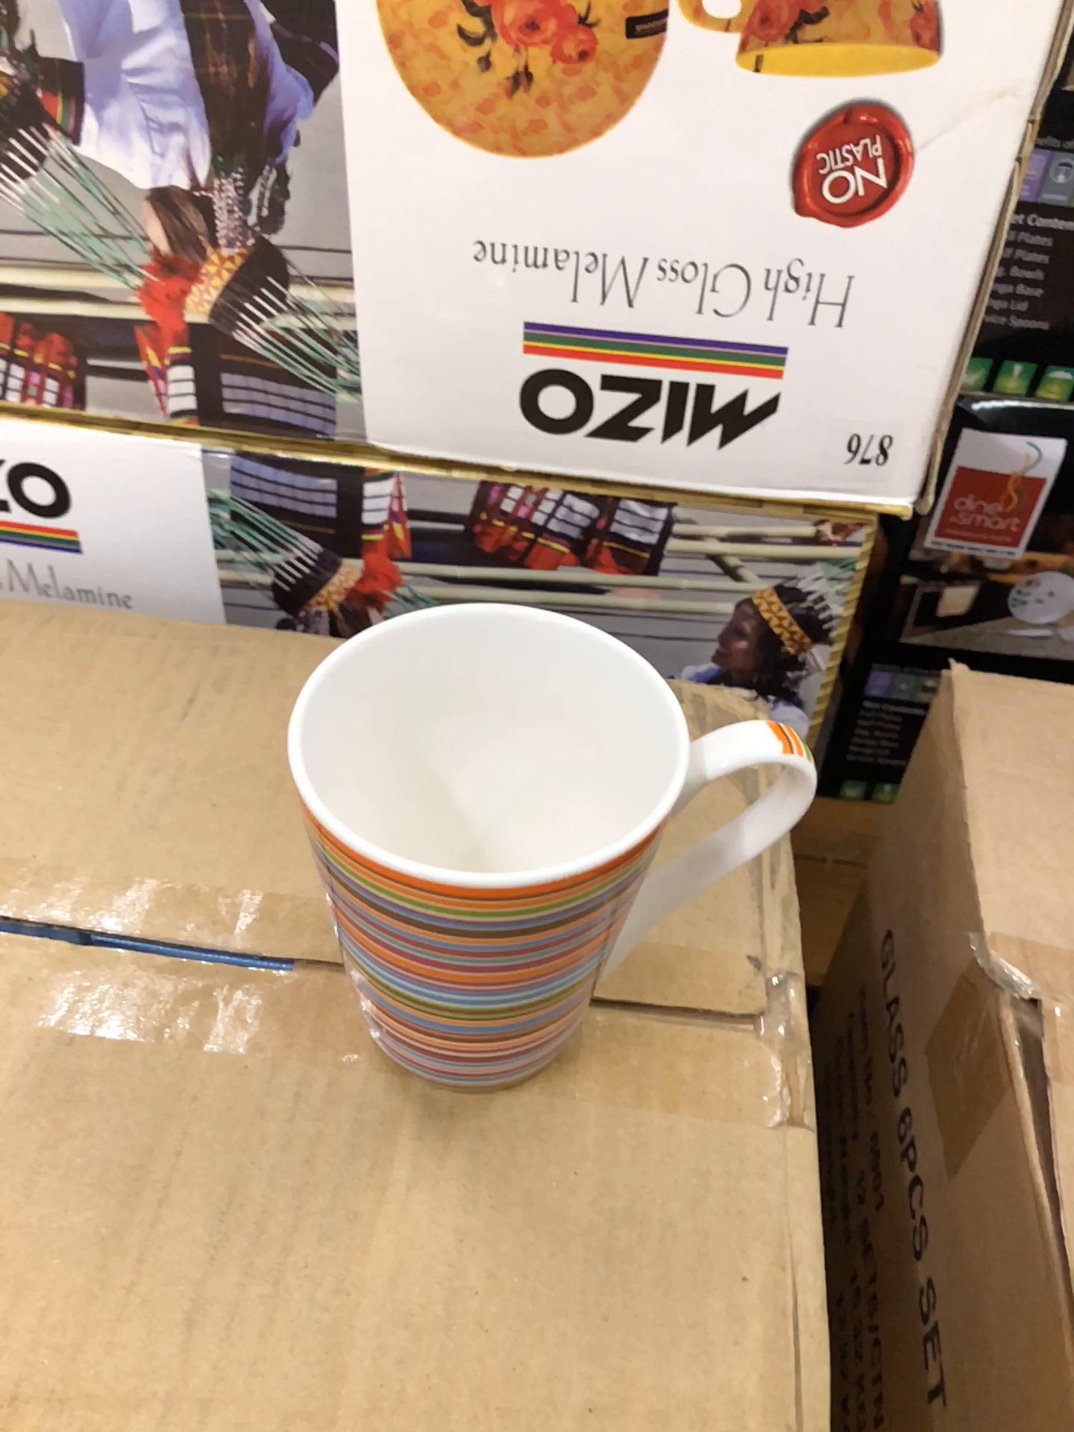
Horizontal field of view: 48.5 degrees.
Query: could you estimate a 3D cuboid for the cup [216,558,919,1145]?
[{"bbox_3d":[-0.001,0.029,0.276,0.130,0.089,0.080,-6,44,-11],"label":"cup"}]
